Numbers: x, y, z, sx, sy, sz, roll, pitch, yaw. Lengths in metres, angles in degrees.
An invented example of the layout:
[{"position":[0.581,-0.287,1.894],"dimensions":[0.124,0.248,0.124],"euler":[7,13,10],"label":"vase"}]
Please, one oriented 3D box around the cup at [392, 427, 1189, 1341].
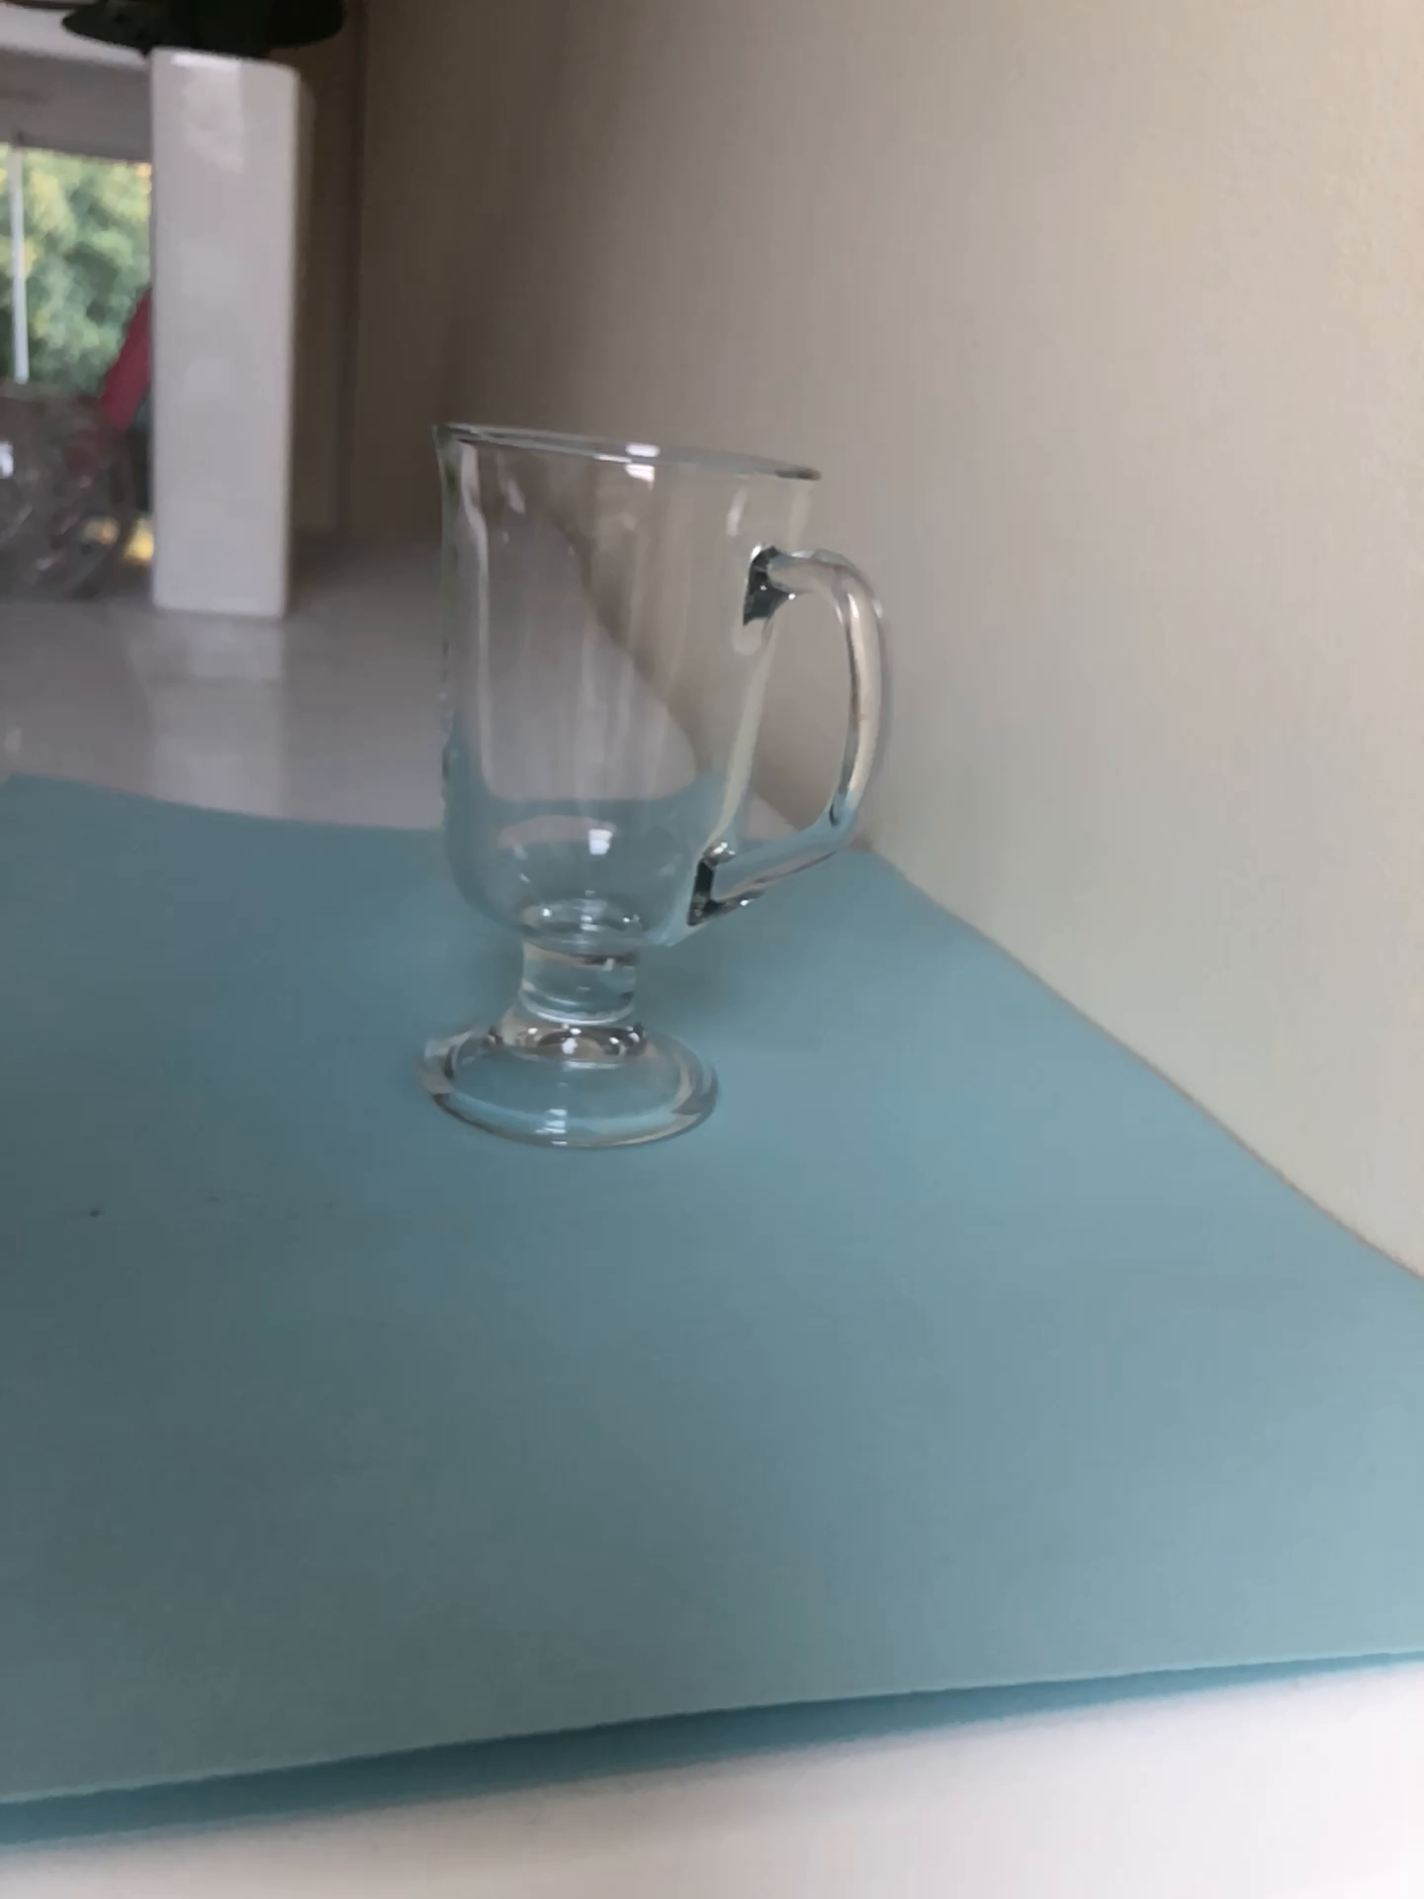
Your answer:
[{"position":[0.009,-0.019,0.270],"dimensions":[0.100,0.119,0.070],"euler":[19,22,33],"label":"cup"}]
